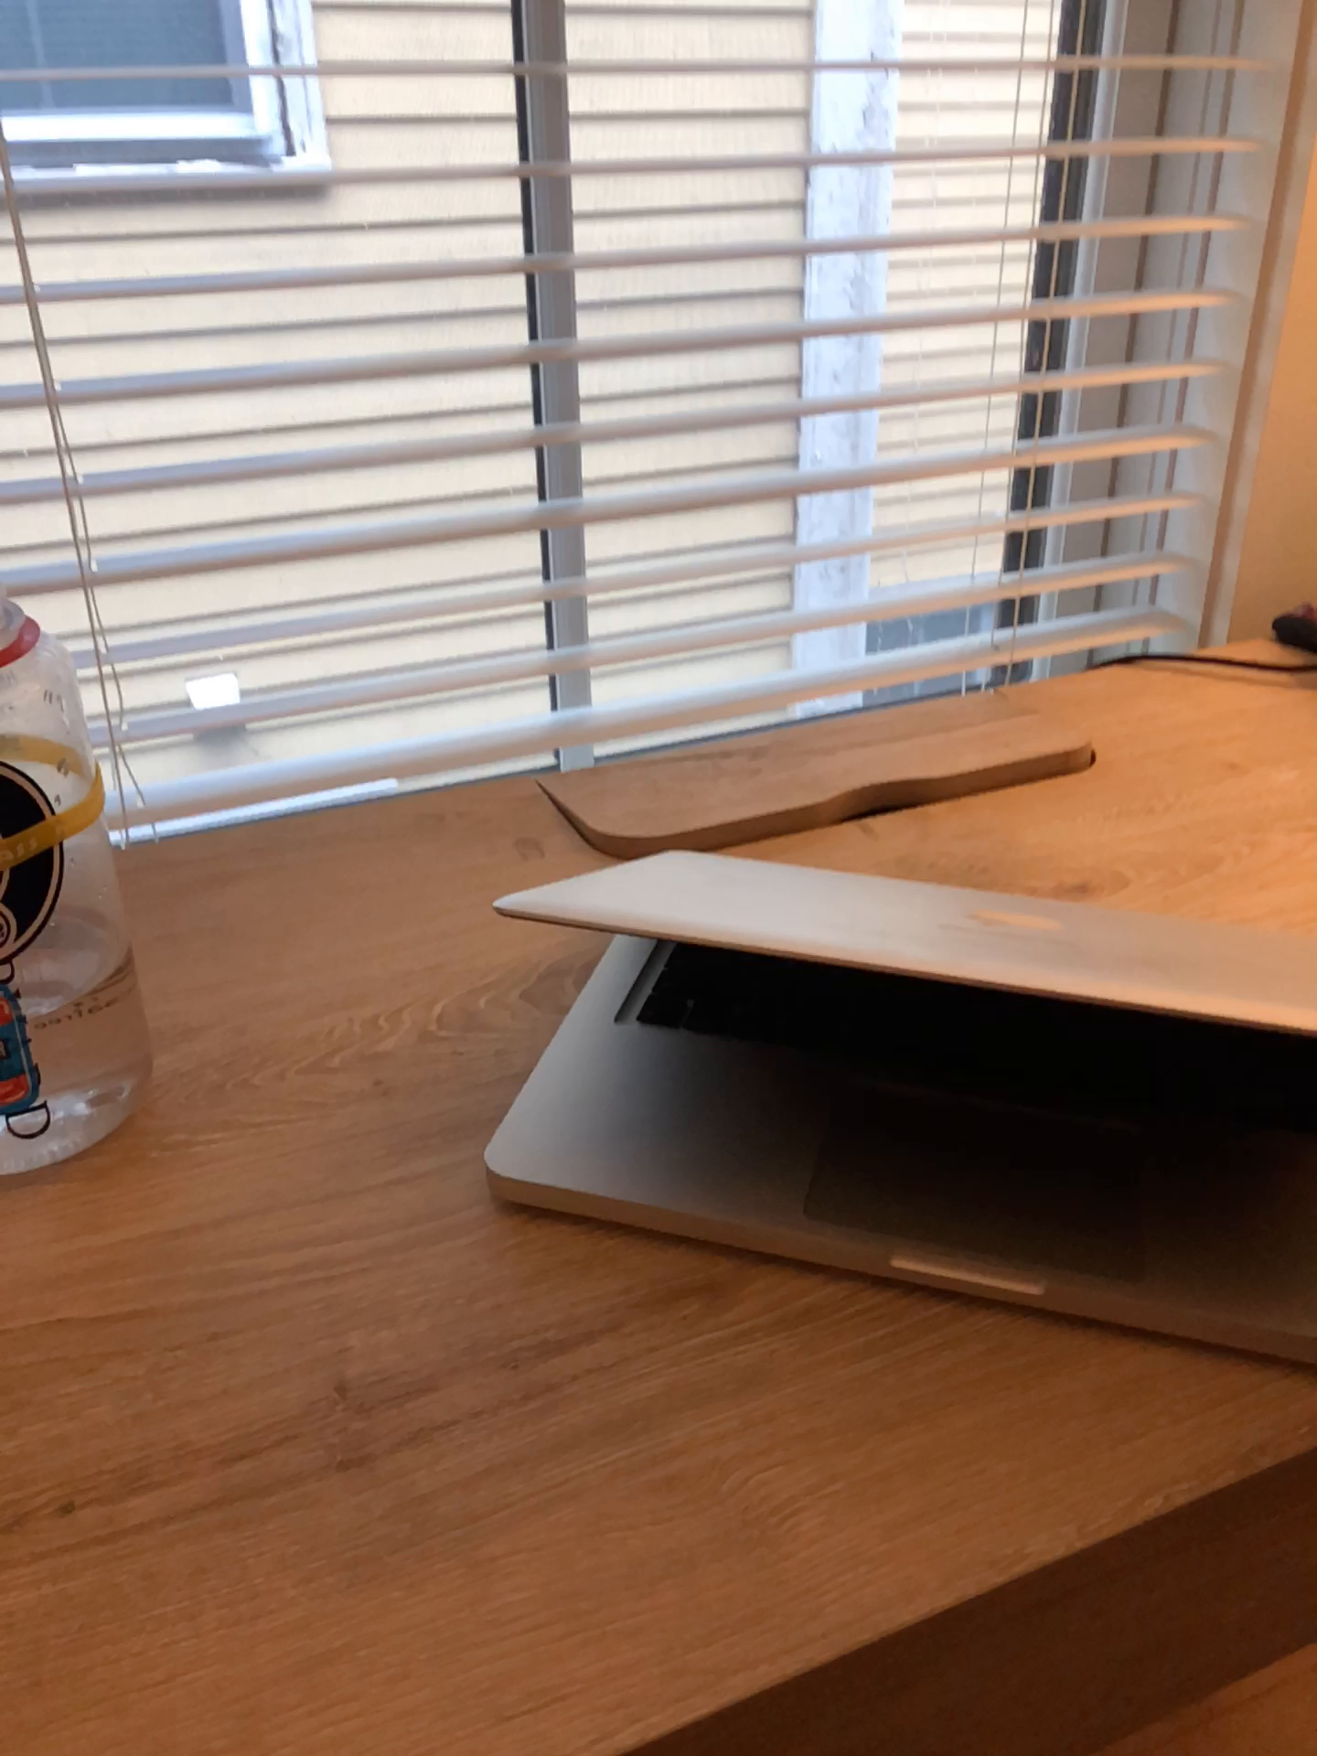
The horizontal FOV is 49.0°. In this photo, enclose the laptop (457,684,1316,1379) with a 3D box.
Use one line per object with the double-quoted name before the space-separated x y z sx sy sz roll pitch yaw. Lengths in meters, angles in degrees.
"laptop" 0.122 0.027 0.518 0.318 0.089 0.230 7 29 15
